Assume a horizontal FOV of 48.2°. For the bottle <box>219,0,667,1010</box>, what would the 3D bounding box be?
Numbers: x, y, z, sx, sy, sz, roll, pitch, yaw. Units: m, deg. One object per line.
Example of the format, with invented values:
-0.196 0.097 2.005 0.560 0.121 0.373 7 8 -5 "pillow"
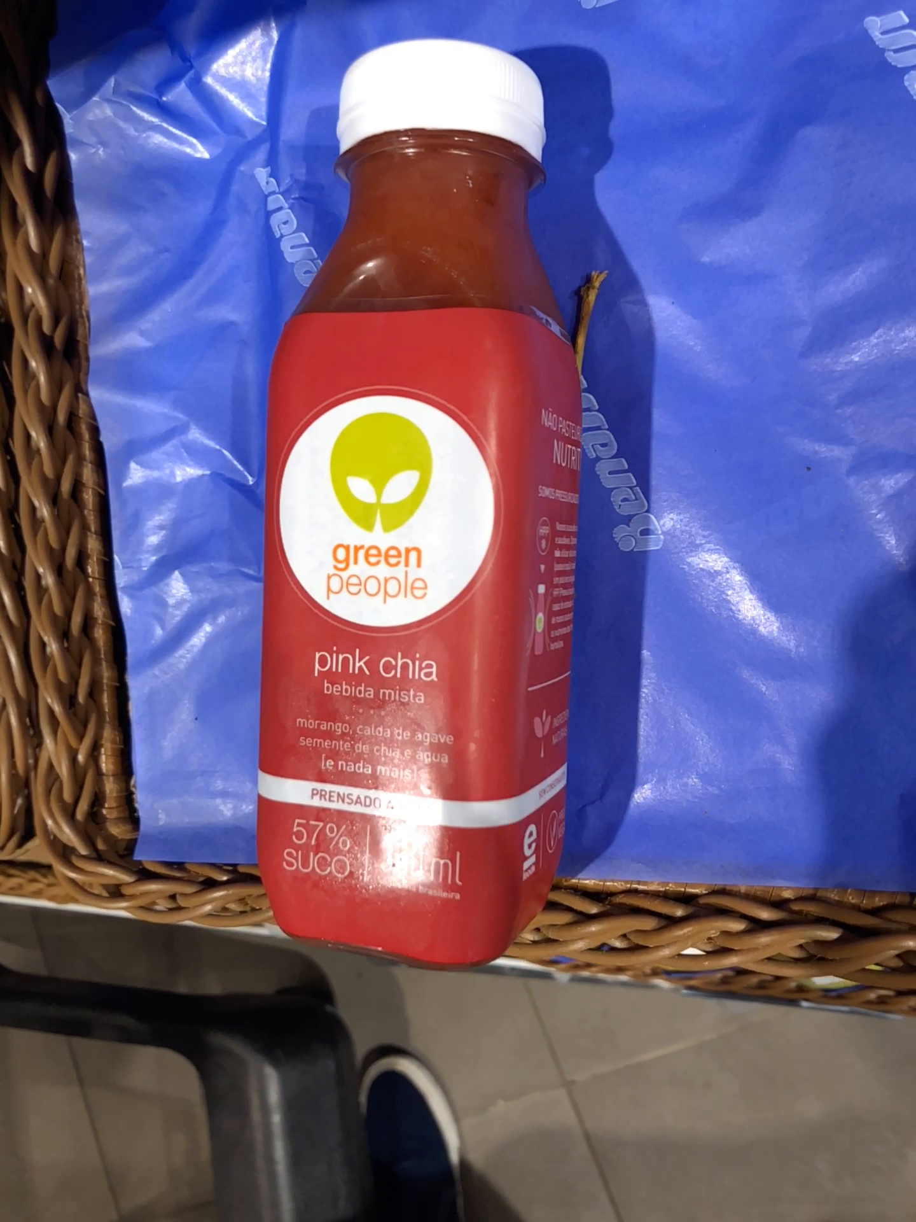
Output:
-0.001 -0.031 0.205 0.060 0.060 0.190 5 93 23 "bottle"
